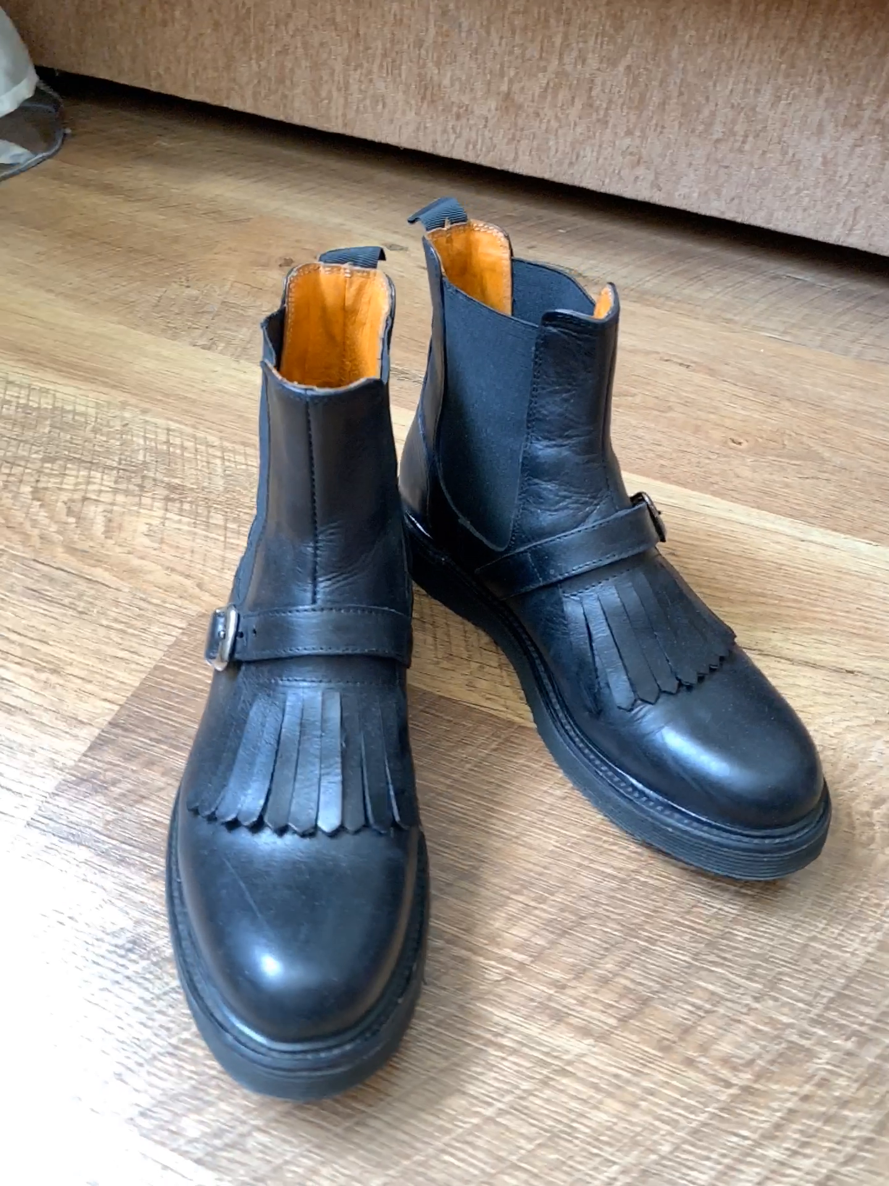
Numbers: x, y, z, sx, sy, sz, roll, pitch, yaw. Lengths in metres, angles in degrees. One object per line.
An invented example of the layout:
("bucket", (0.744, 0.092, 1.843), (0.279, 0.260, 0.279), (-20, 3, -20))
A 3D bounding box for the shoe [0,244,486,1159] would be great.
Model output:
("shoe", (-0.050, 0.018, 0.305), (0.089, 0.151, 0.261), (0, 46, -5))

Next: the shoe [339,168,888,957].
("shoe", (0.068, -0.029, 0.348), (0.100, 0.149, 0.261), (-23, 52, -25))
